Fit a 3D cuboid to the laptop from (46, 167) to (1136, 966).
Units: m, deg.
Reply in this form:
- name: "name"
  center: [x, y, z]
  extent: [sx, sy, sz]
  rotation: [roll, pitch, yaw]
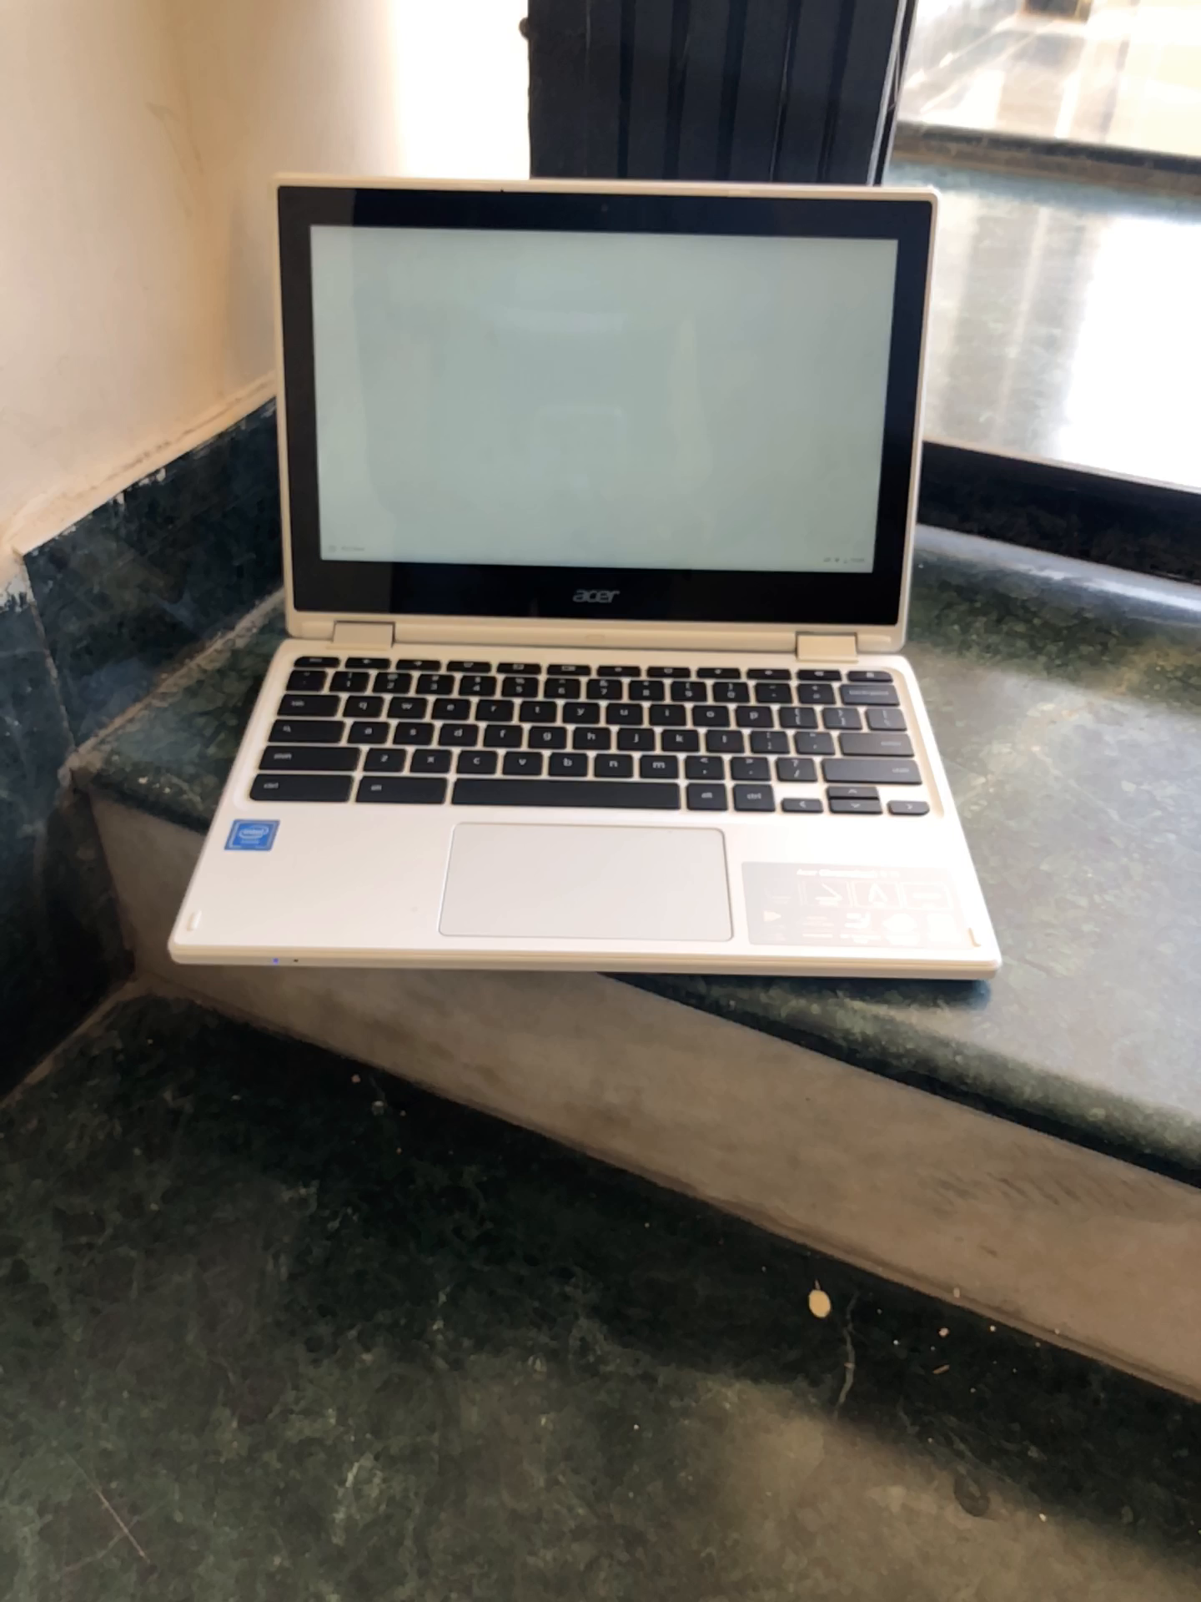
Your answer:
- name: "laptop"
  center: [-0.001, -0.104, 0.500]
  extent: [0.278, 0.178, 0.273]
  rotation: [1, 37, 0]
